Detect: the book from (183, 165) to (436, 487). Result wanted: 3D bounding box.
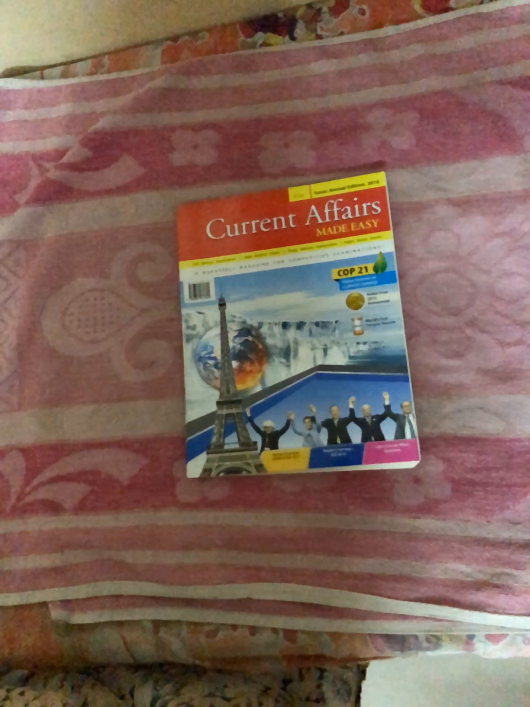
[{"bbox_3d":[0.032,-0.024,0.534,0.205,0.025,0.270,-6,78,12],"label":"book"}]
